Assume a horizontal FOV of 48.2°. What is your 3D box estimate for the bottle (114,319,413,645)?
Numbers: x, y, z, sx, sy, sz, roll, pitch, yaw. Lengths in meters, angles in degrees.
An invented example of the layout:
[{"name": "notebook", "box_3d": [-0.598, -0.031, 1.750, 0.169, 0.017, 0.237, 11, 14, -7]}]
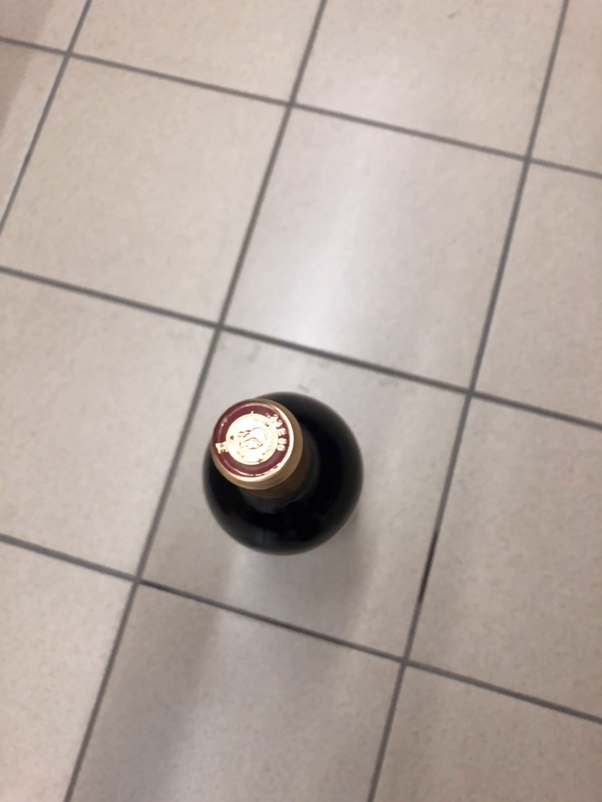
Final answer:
[{"name": "bottle", "box_3d": [-0.003, 0.050, 0.344, 0.080, 0.290, 0.090, 5, 79, 4]}]
